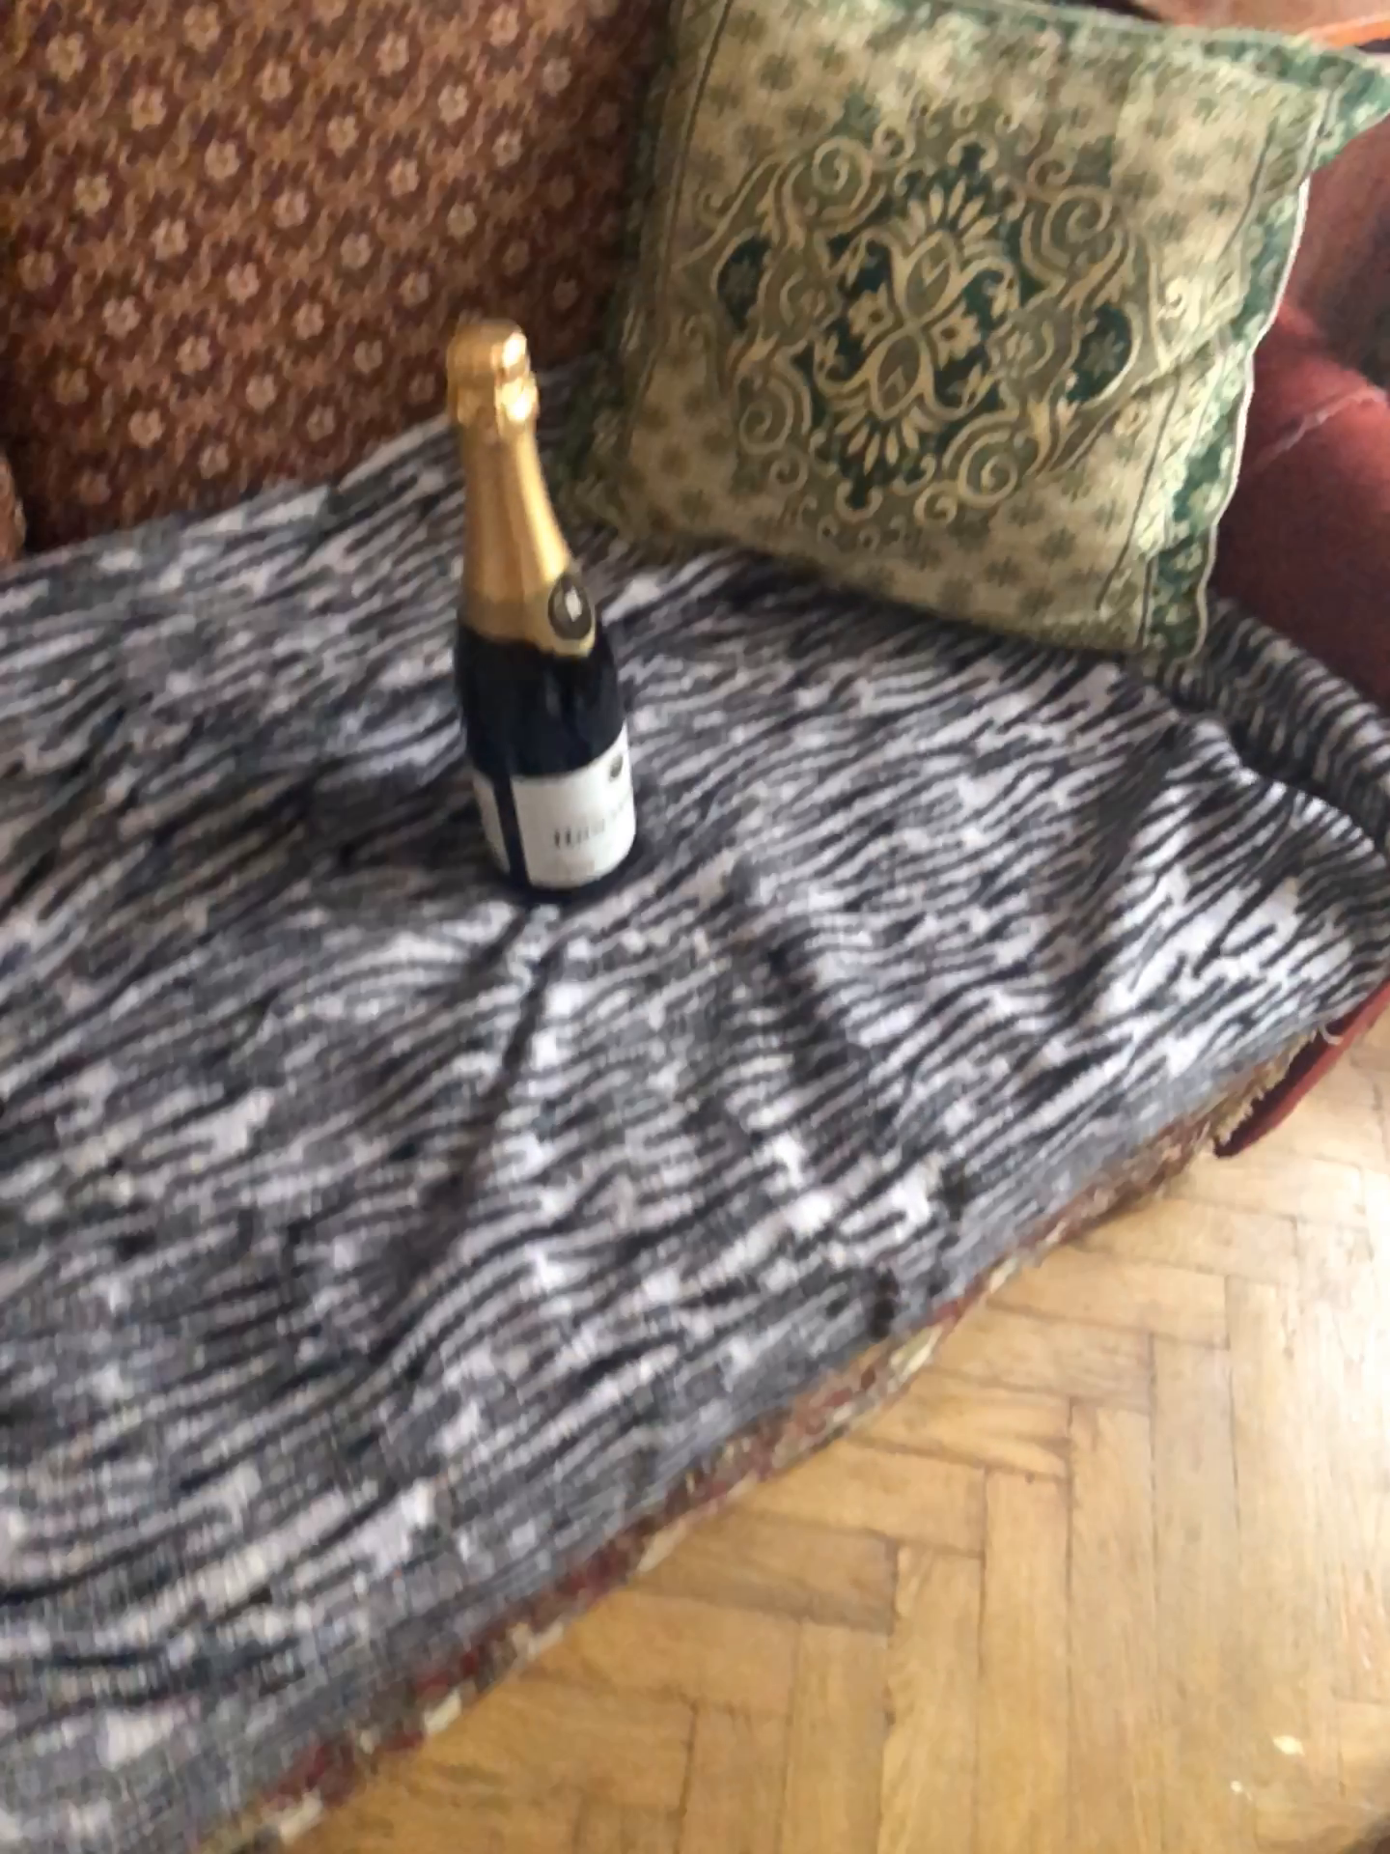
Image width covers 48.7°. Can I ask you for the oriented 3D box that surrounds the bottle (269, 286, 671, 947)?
[{"bbox_3d":[-0.088,-0.128,0.708,0.100,0.278,0.100,-1,54,2],"label":"bottle"}]
